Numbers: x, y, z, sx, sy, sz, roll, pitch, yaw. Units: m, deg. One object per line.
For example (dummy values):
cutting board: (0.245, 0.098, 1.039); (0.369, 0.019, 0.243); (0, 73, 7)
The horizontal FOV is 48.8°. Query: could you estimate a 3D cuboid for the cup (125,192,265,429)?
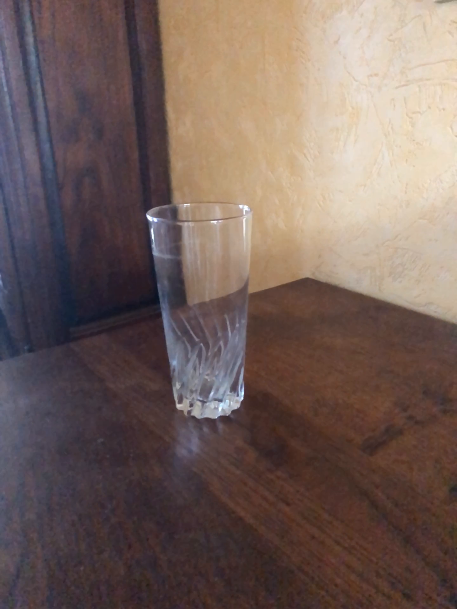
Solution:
cup: (-0.018, 0.000, 0.363); (0.070, 0.149, 0.070); (-2, 19, 1)
